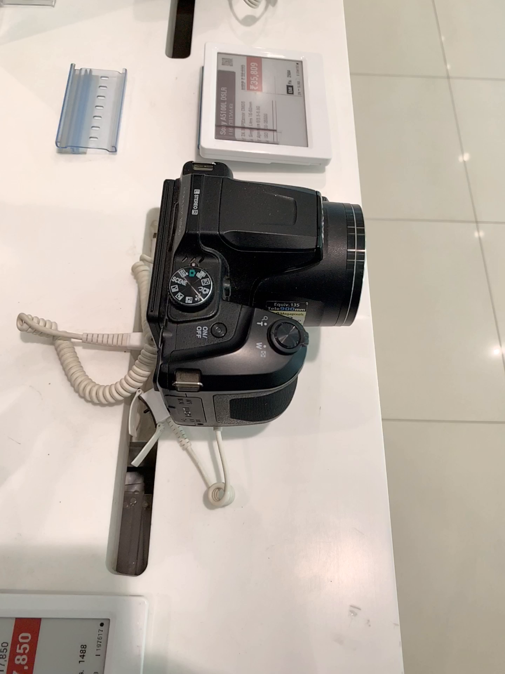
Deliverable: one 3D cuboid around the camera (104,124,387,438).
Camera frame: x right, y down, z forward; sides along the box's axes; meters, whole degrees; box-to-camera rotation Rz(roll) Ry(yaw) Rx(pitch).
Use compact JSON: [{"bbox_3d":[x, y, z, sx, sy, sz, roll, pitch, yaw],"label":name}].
[{"bbox_3d":[-0.002,-0.023,0.246,0.100,0.080,0.120,2,65,-1],"label":"camera"}]
